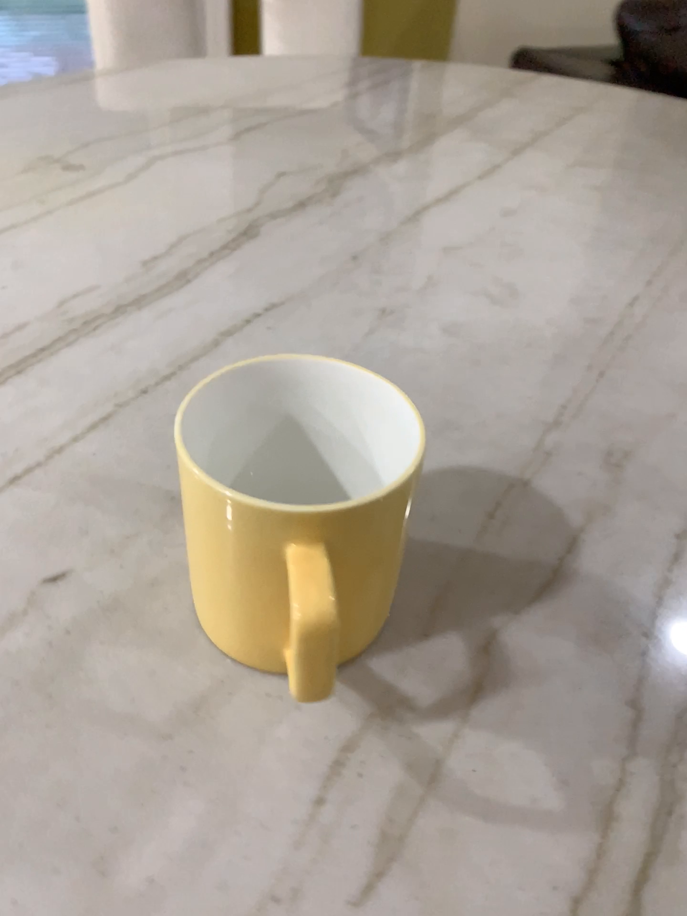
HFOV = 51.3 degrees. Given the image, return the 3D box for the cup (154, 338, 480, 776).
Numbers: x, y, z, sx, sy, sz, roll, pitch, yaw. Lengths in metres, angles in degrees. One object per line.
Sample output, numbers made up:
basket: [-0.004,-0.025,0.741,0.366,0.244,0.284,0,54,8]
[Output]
cup: [-0.016,0.024,0.226,0.074,0.074,0.110,-3,41,-10]
